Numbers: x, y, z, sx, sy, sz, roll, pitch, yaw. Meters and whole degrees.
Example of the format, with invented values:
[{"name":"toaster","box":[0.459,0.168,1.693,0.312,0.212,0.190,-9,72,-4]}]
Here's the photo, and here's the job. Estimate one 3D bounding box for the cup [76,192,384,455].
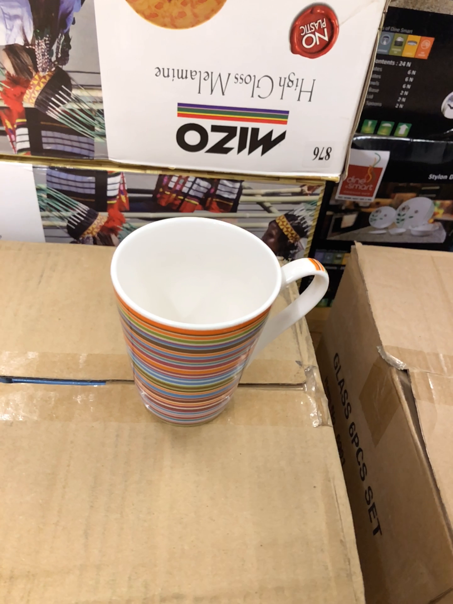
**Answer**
[{"name":"cup","box":[-0.004,0.007,0.274,0.130,0.089,0.080,-11,47,-19]}]
